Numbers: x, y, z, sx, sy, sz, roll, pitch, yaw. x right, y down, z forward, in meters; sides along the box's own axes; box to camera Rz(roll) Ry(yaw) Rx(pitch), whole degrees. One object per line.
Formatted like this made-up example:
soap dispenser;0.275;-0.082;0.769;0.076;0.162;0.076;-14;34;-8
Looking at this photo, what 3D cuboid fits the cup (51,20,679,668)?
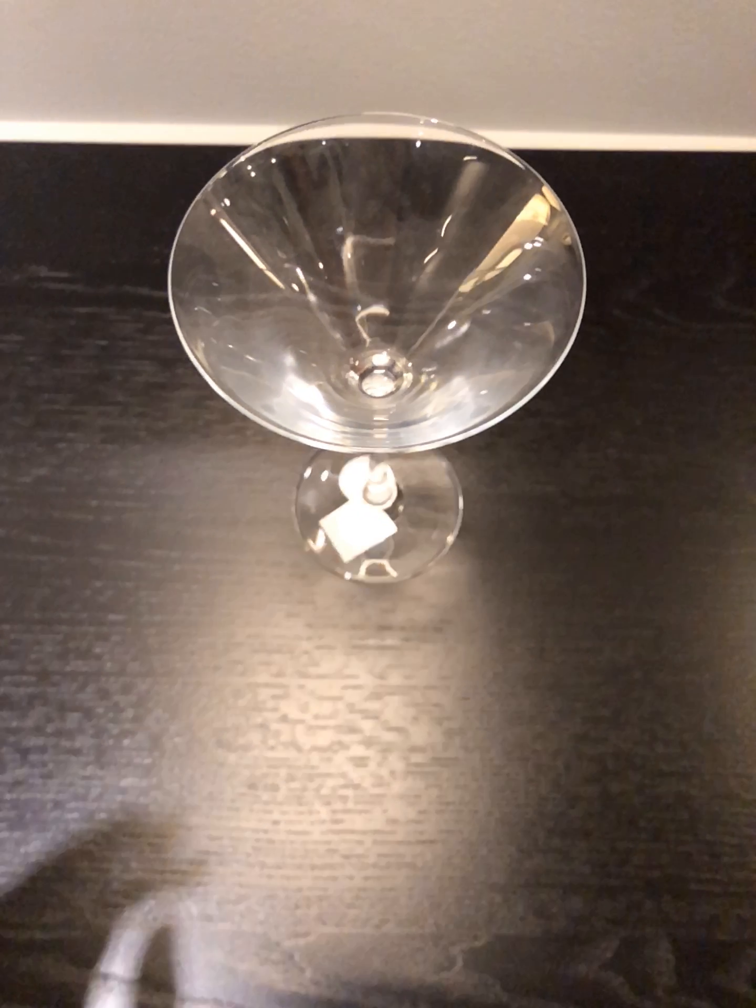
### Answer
cup;-0.005;-0.043;0.315;0.130;0.160;0.120;1;68;-2
